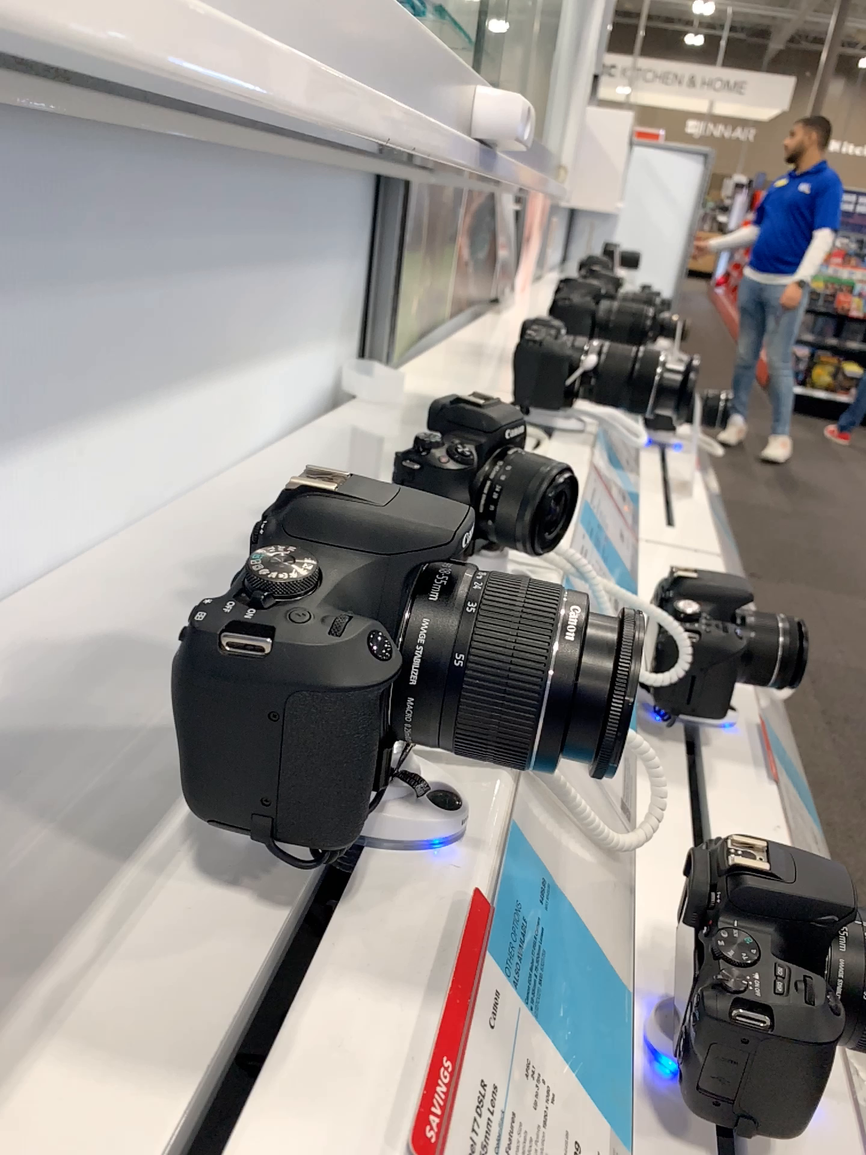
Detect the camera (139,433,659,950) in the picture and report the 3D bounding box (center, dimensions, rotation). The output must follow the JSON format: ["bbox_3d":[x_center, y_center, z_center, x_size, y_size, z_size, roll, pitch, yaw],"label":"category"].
[{"bbox_3d":[-0.005,0.026,0.309,0.141,0.100,0.126,12,24,8],"label":"camera"}]

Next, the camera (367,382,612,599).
[{"bbox_3d":[0.037,-0.059,0.539,0.102,0.080,0.121,16,25,17],"label":"camera"}]
